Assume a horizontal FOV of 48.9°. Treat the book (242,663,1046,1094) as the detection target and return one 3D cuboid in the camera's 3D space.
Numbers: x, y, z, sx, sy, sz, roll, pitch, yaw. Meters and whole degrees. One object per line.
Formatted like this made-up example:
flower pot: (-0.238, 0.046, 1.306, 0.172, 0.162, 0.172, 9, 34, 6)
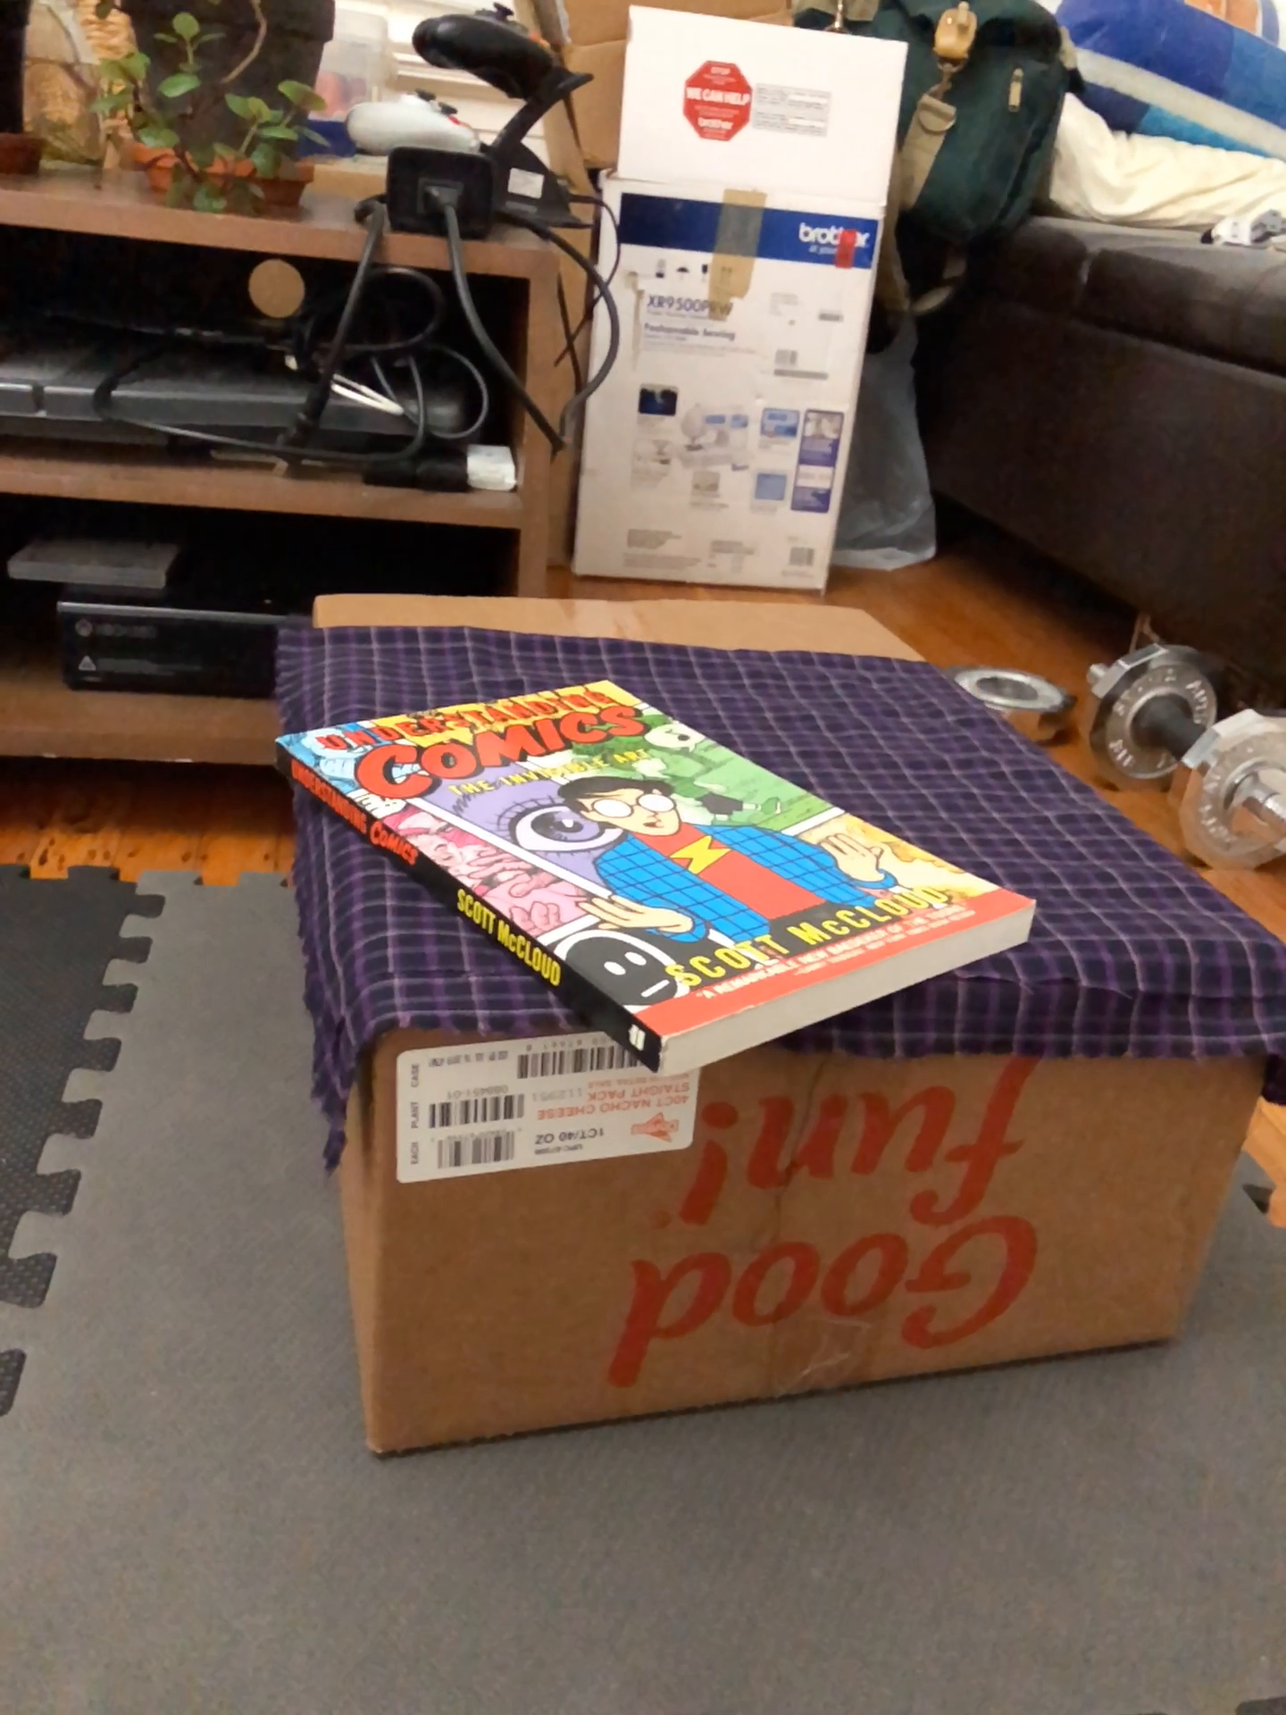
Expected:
book: (-0.012, -0.013, 0.532, 0.170, 0.020, 0.271, -15, 32, -36)
